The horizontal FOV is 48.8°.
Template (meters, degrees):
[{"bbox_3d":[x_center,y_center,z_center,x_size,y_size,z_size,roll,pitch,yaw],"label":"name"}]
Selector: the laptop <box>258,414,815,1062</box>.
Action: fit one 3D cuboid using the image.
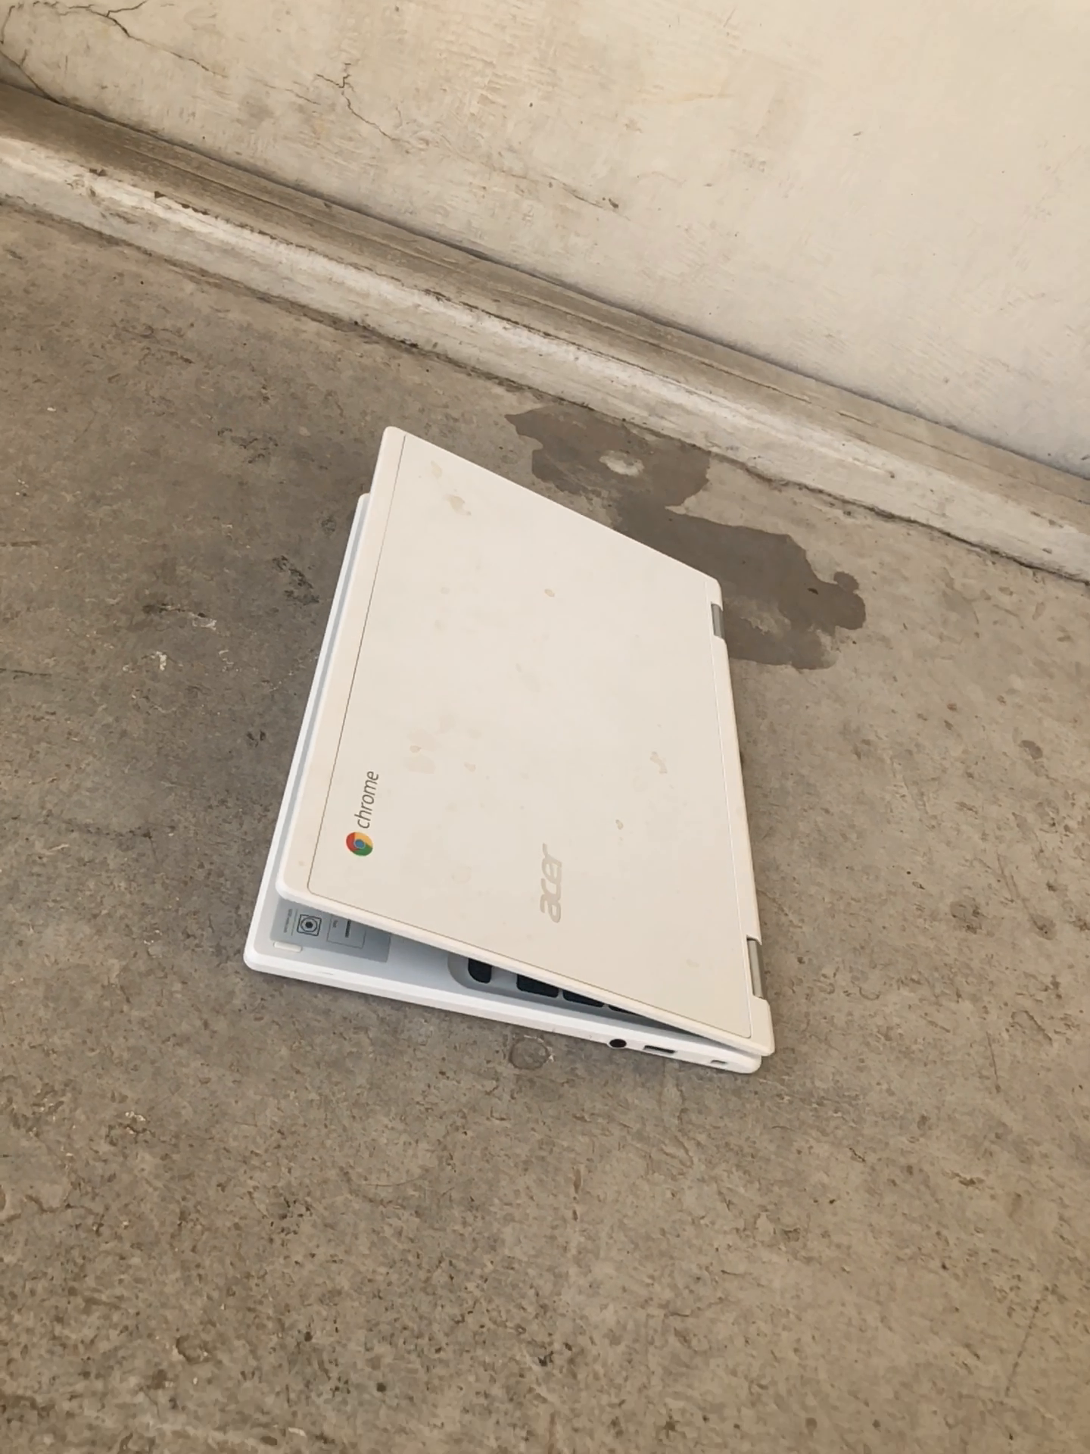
[{"bbox_3d":[0.004,-0.012,0.514,0.190,0.046,0.279,16,43,-12],"label":"laptop"}]
